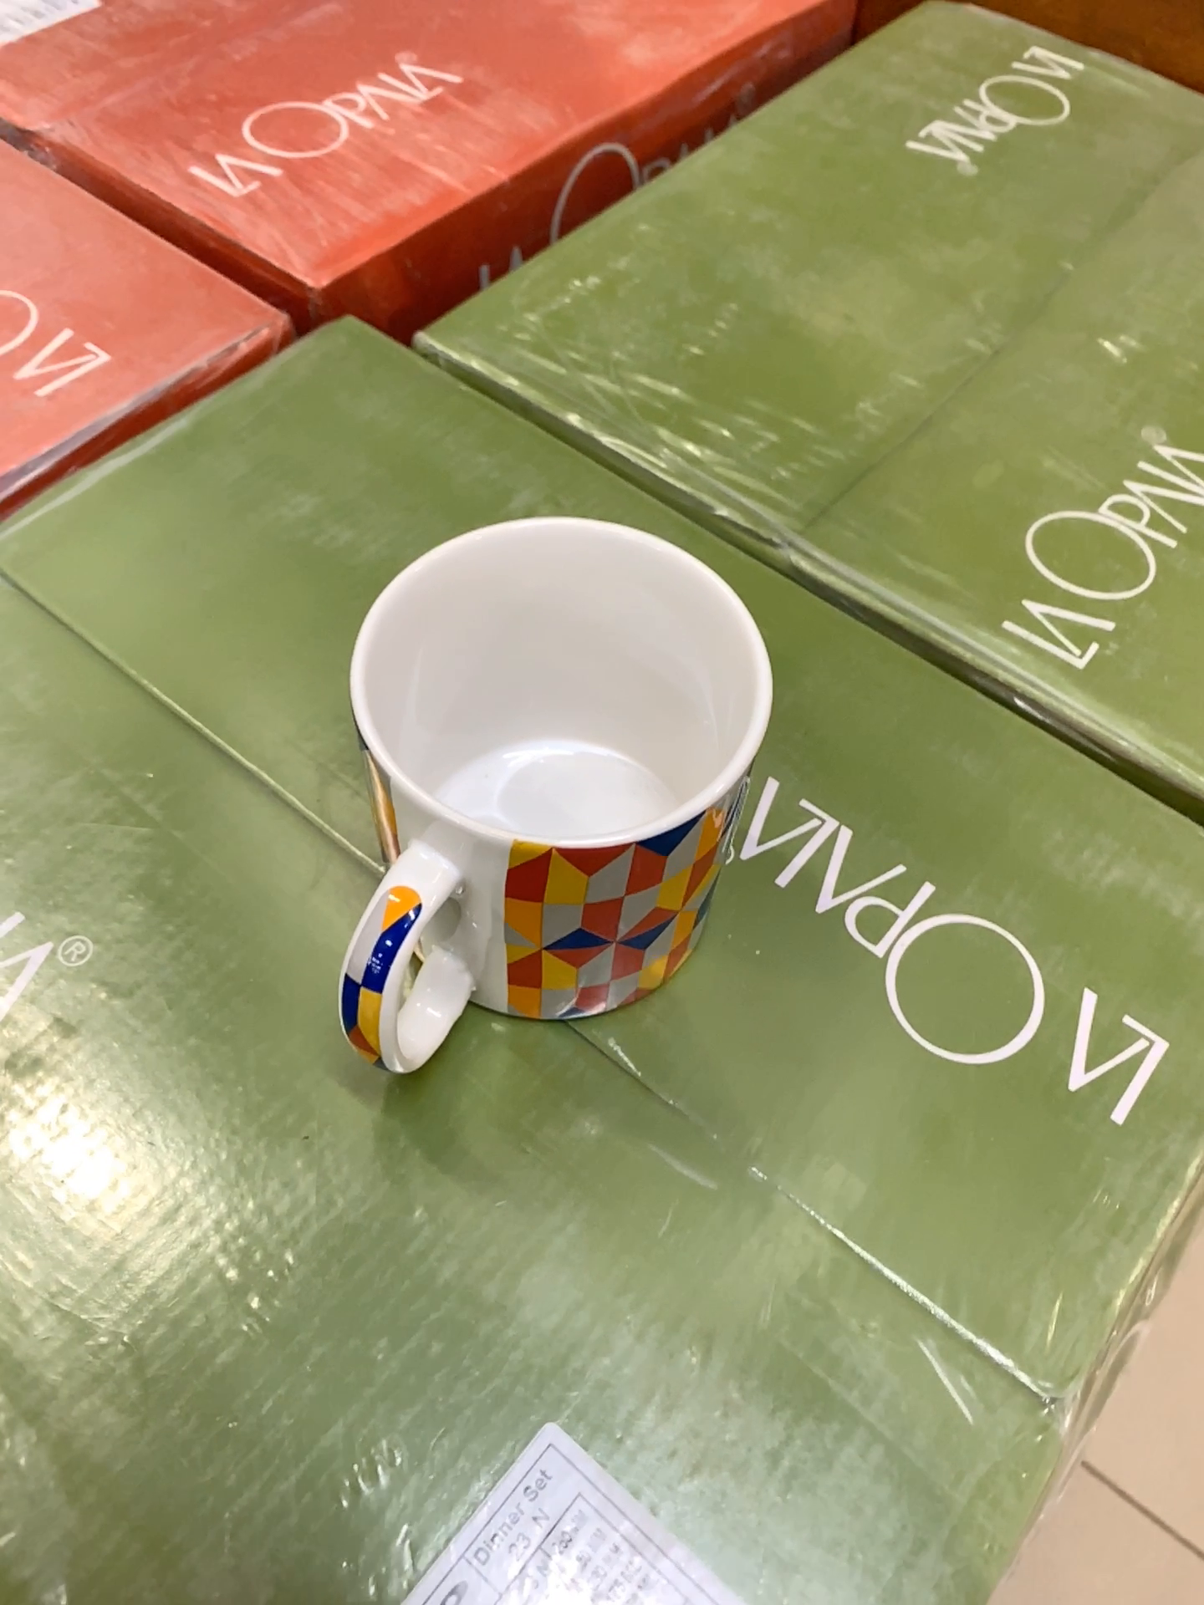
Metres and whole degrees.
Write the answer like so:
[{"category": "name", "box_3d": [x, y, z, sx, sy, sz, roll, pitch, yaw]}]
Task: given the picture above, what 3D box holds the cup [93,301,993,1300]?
[{"category": "cup", "box_3d": [-0.002, -0.002, 0.232, 0.090, 0.100, 0.130, 22, 56, 11]}]
